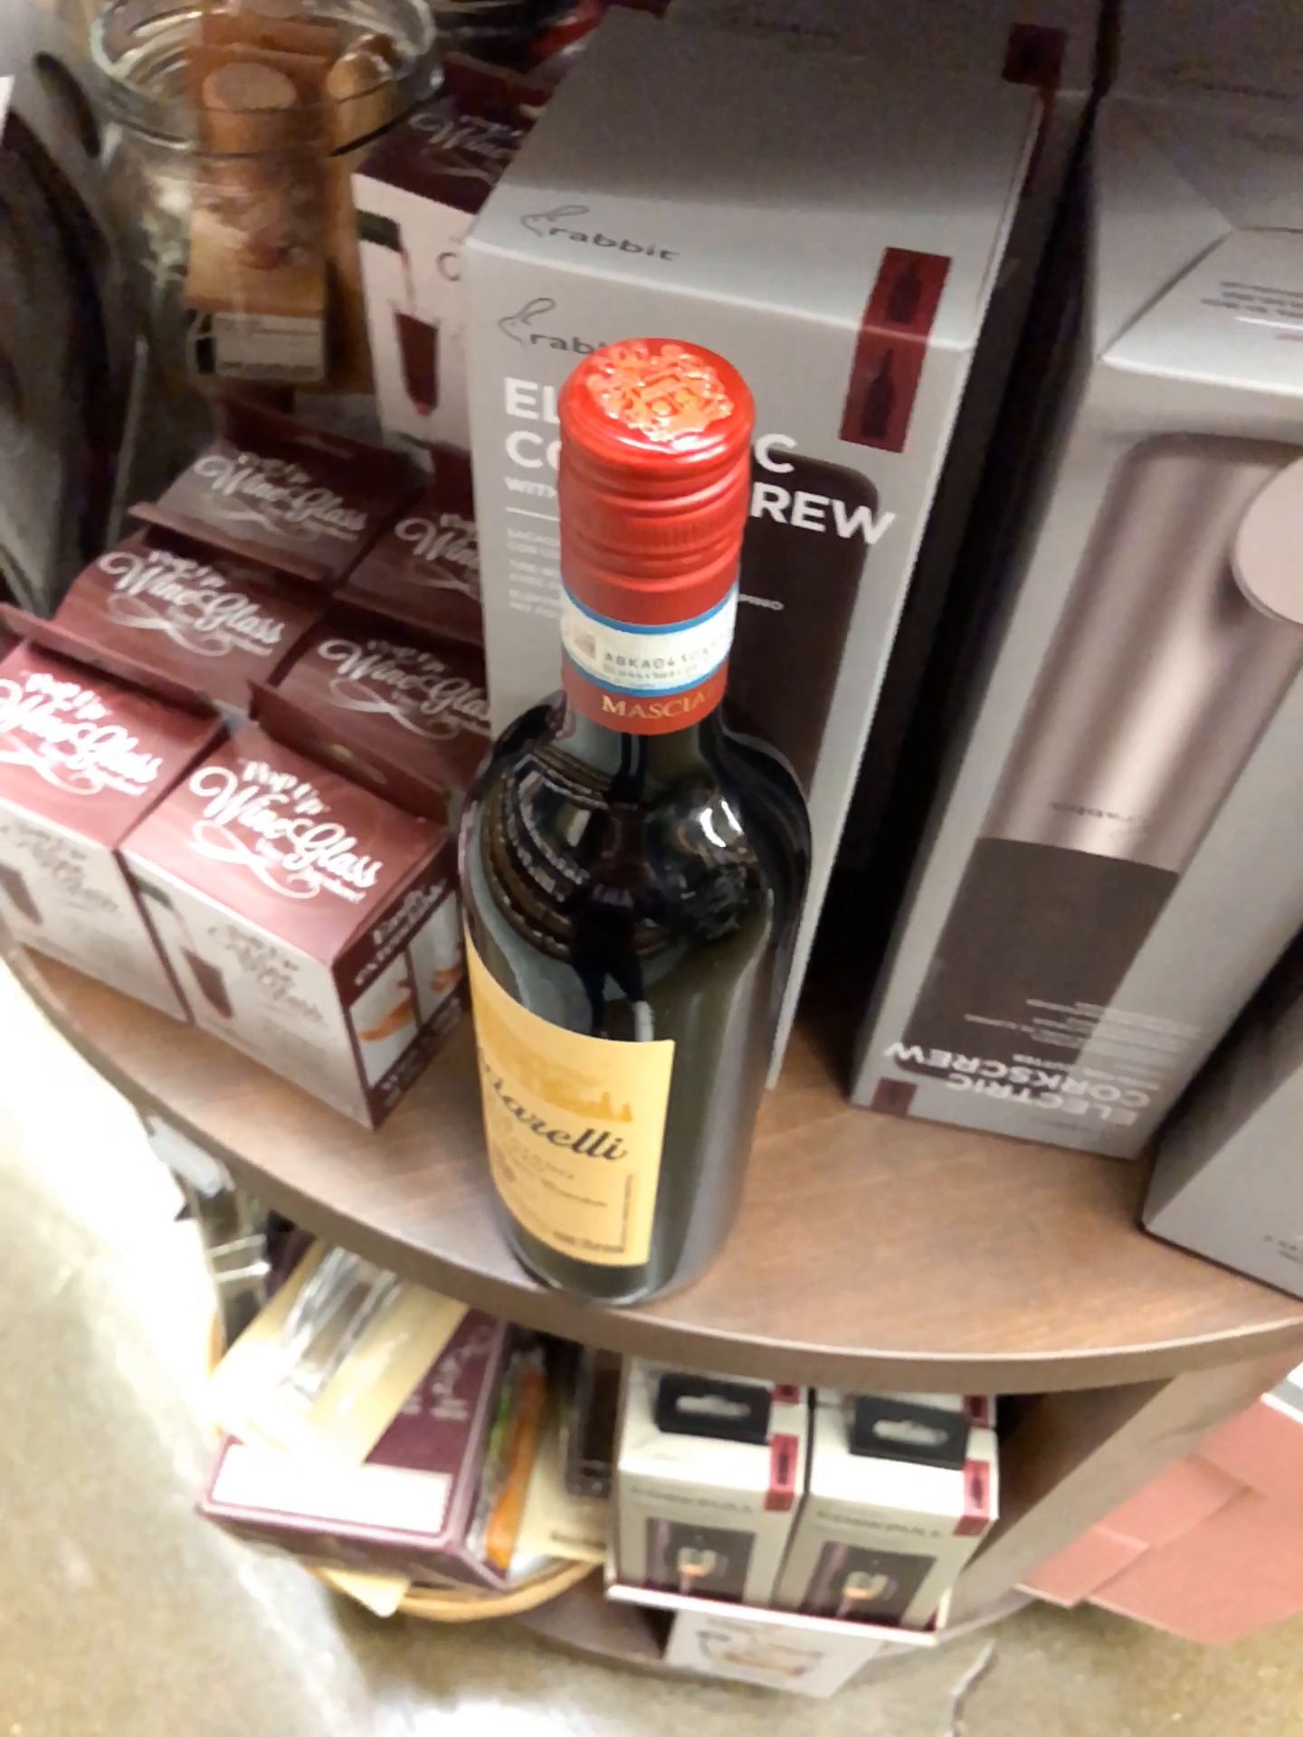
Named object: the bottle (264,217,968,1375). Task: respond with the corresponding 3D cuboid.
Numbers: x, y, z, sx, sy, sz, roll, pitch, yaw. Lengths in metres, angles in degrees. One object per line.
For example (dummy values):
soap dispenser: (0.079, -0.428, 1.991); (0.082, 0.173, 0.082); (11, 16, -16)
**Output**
bottle: (-0.010, 0.018, 0.318); (0.075, 0.283, 0.072); (1, 54, -1)
